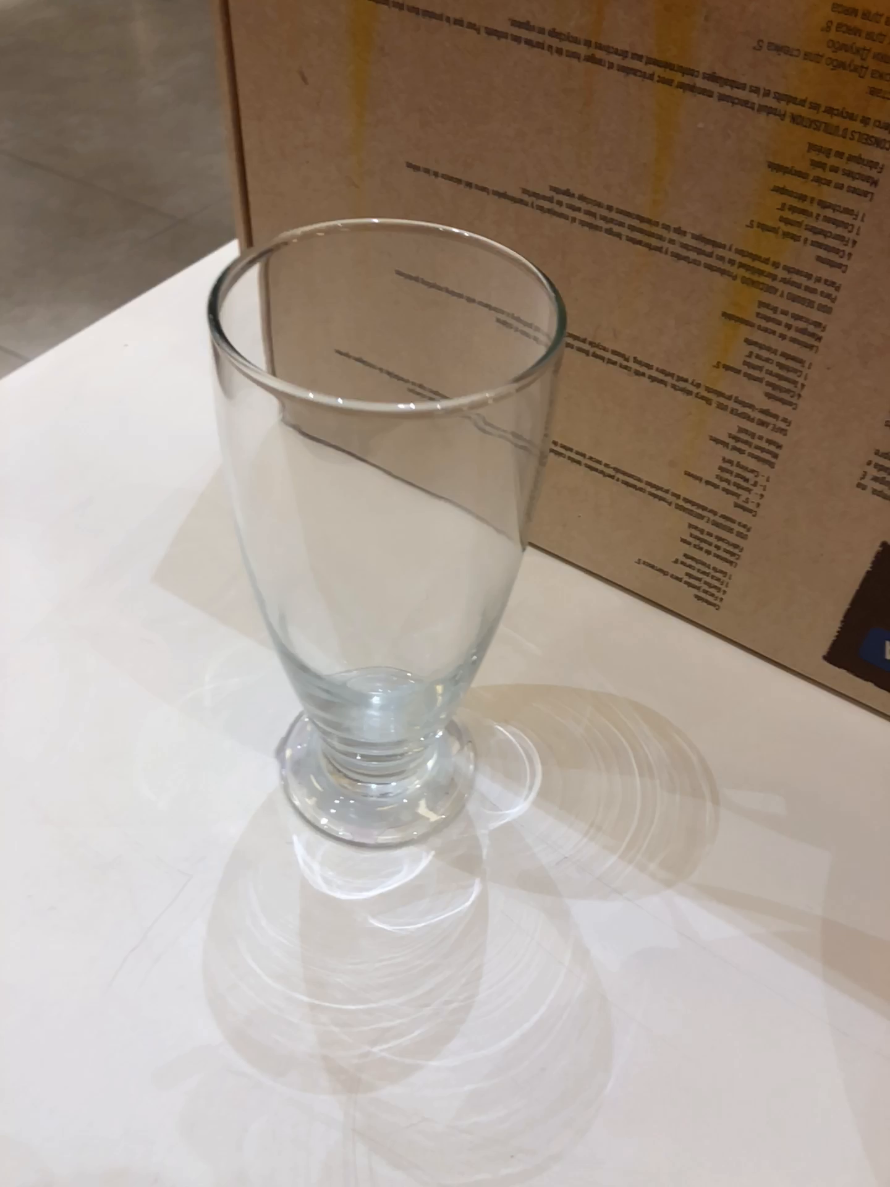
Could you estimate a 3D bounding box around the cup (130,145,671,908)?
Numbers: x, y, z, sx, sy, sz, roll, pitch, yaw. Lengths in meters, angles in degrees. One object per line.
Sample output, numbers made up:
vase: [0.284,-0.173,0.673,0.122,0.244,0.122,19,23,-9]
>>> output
cup: [-0.013,-0.009,0.285,0.090,0.189,0.080,26,49,19]
